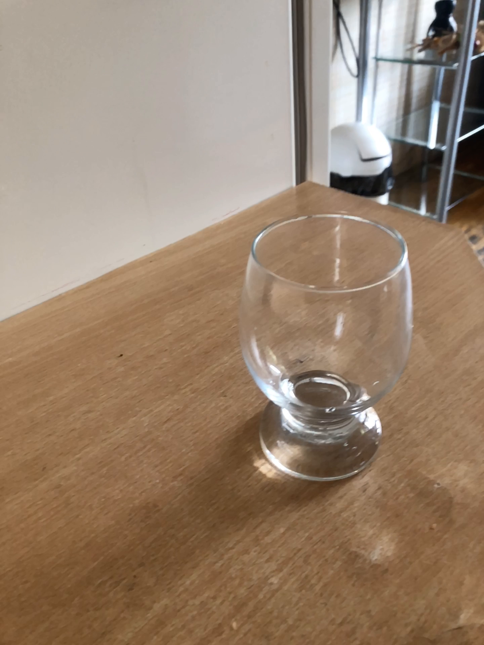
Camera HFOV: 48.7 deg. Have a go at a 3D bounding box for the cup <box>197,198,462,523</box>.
[{"bbox_3d":[0.038,0.014,0.246,0.074,0.105,0.077,-3,36,3],"label":"cup"}]
